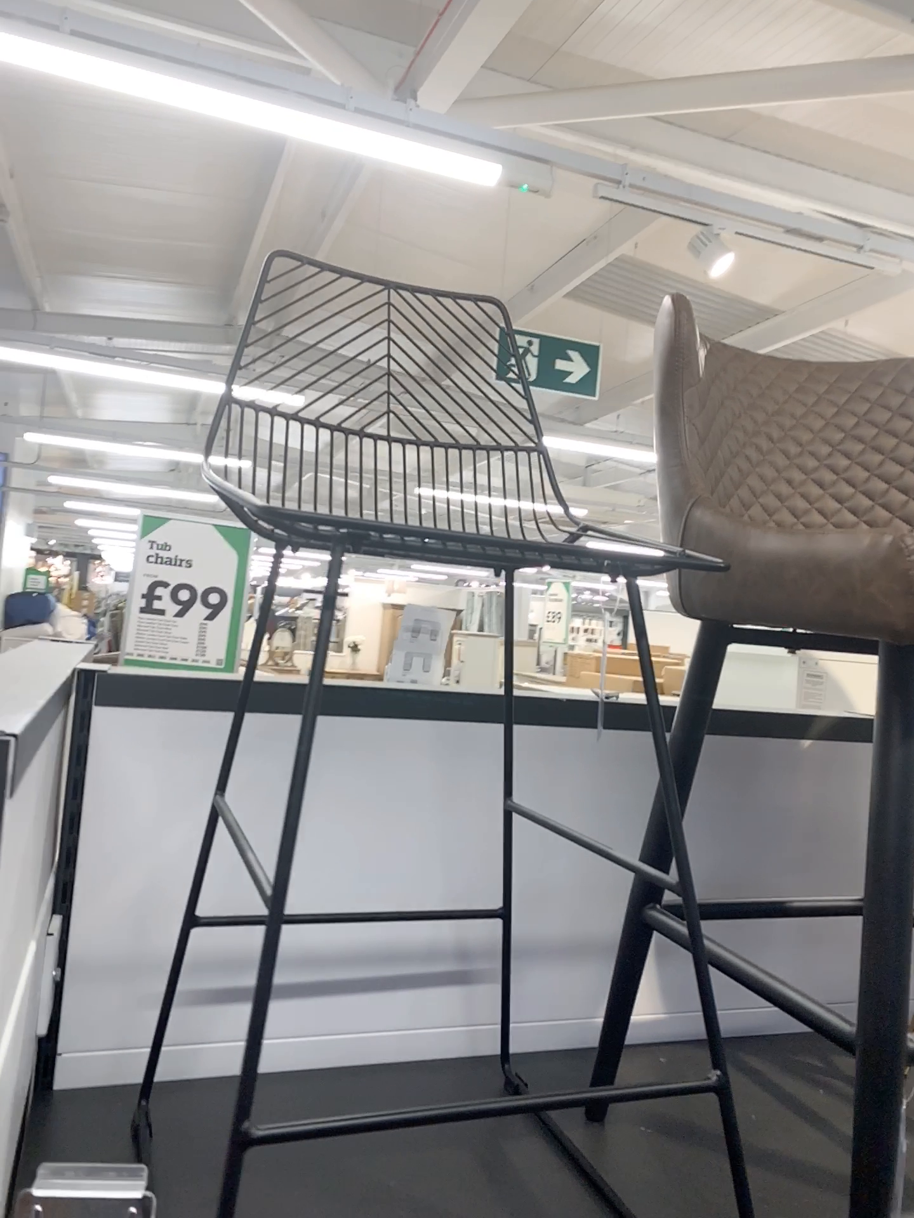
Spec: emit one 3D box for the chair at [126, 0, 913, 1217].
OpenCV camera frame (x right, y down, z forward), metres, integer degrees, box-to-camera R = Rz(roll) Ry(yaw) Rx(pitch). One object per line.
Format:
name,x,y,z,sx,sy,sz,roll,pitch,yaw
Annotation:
chair,0.009,0.073,0.879,0.508,0.968,0.528,6,-1,-20
